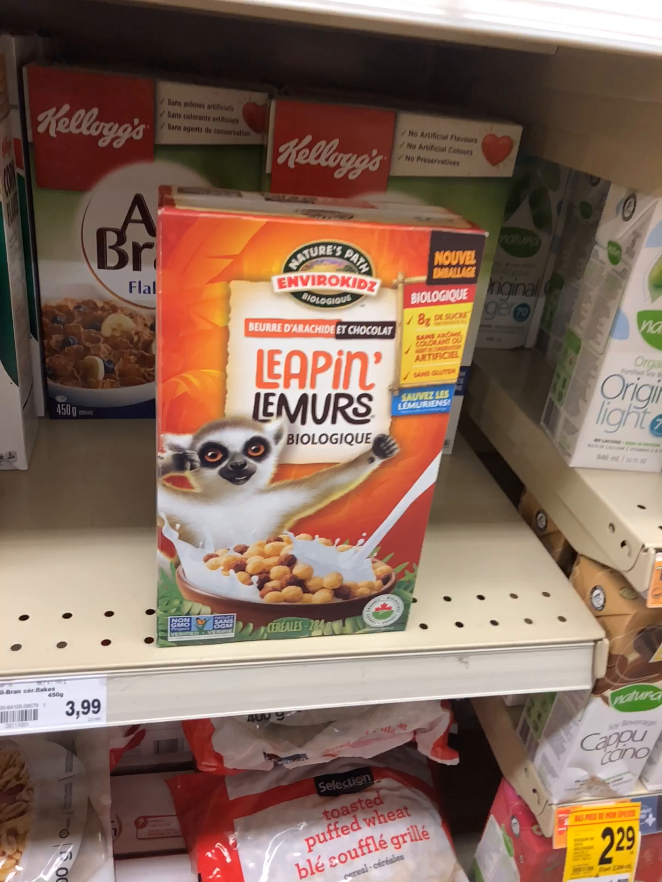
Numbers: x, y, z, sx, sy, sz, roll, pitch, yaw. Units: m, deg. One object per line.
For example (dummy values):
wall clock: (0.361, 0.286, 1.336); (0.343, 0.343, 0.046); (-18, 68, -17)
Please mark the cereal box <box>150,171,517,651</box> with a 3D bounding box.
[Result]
cereal box: (-0.015, -0.007, 0.419); (0.170, 0.258, 0.071); (0, 29, -13)
